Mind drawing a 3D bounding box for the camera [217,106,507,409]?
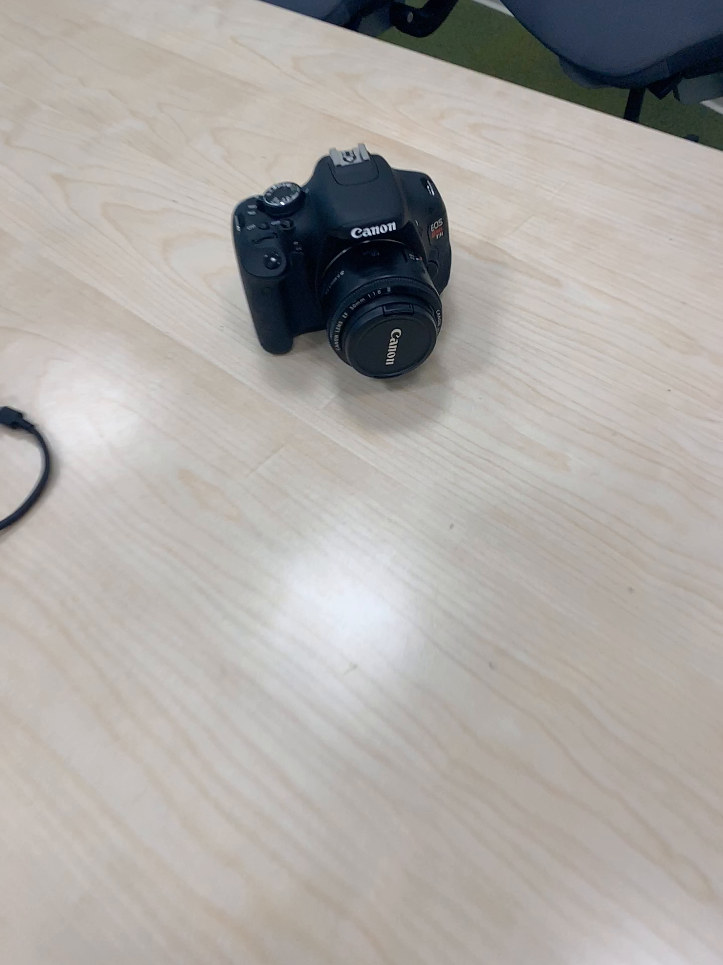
[{"bbox_3d":[-0.002,-0.130,0.428,0.130,0.090,0.120,-13,55,-3],"label":"camera"}]
